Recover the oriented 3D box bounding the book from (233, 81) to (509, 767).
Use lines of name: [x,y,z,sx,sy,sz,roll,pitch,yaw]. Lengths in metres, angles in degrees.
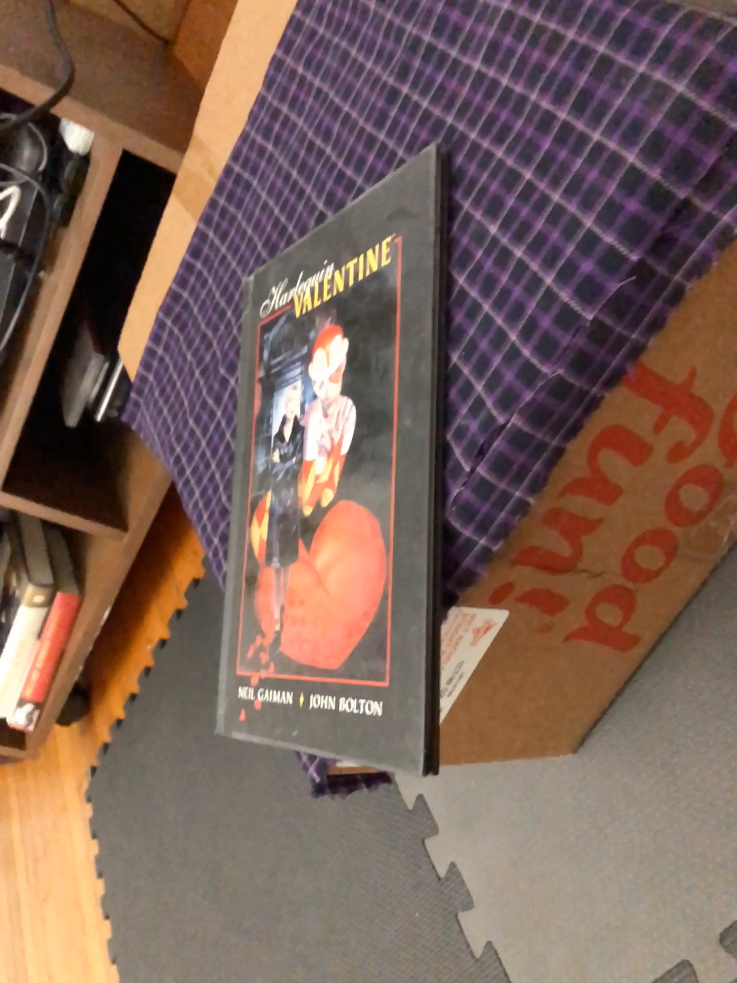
book: [-0.006,-0.024,0.396,0.181,0.020,0.280,-15,70,52]
